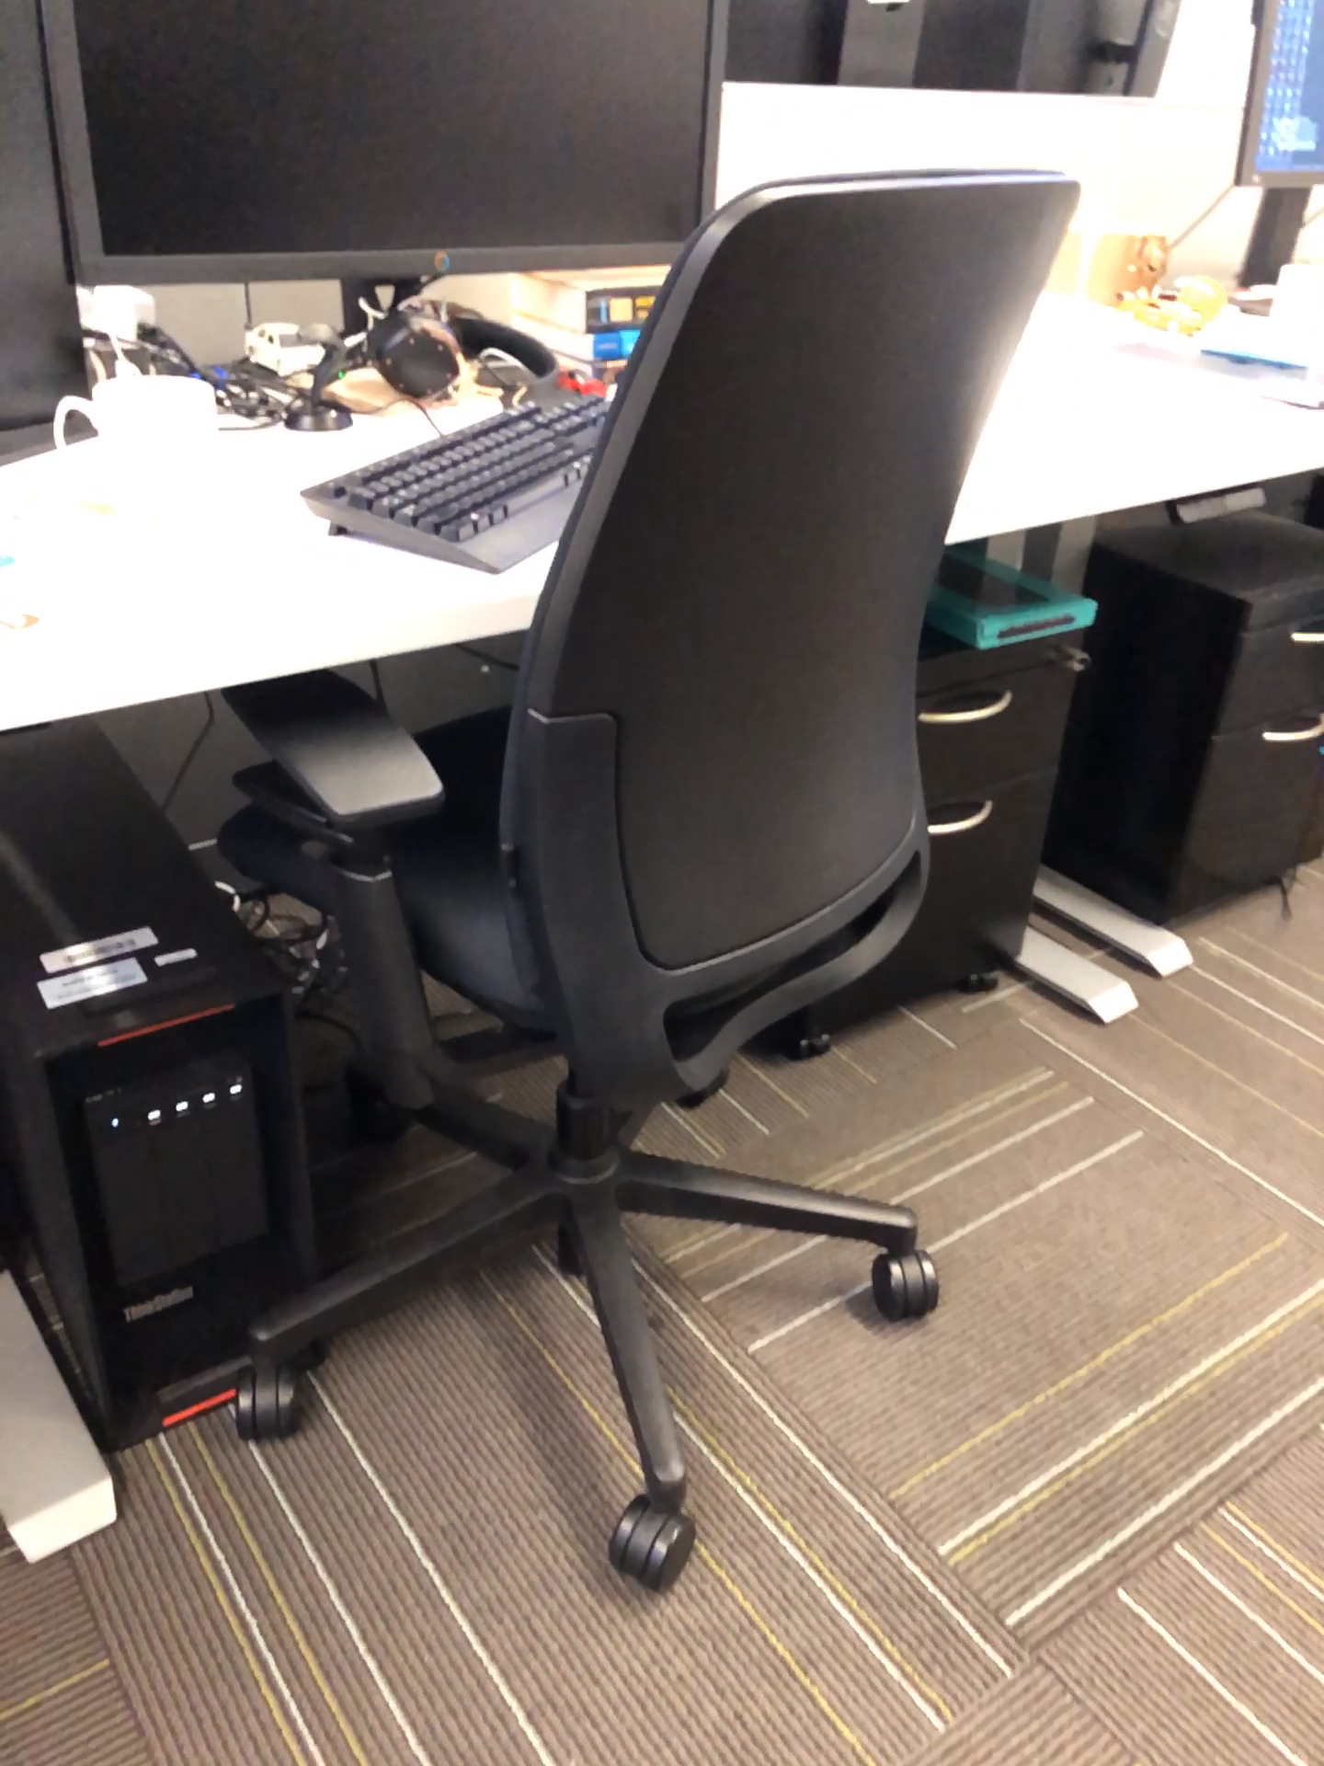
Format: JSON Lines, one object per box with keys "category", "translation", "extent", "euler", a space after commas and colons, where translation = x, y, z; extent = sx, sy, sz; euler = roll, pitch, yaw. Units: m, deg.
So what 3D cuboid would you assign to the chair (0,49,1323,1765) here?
{"category": "chair", "translation": [-0.015, -0.033, 1.128], "extent": [0.782, 1.014, 0.662], "euler": [-18, 36, -33]}
